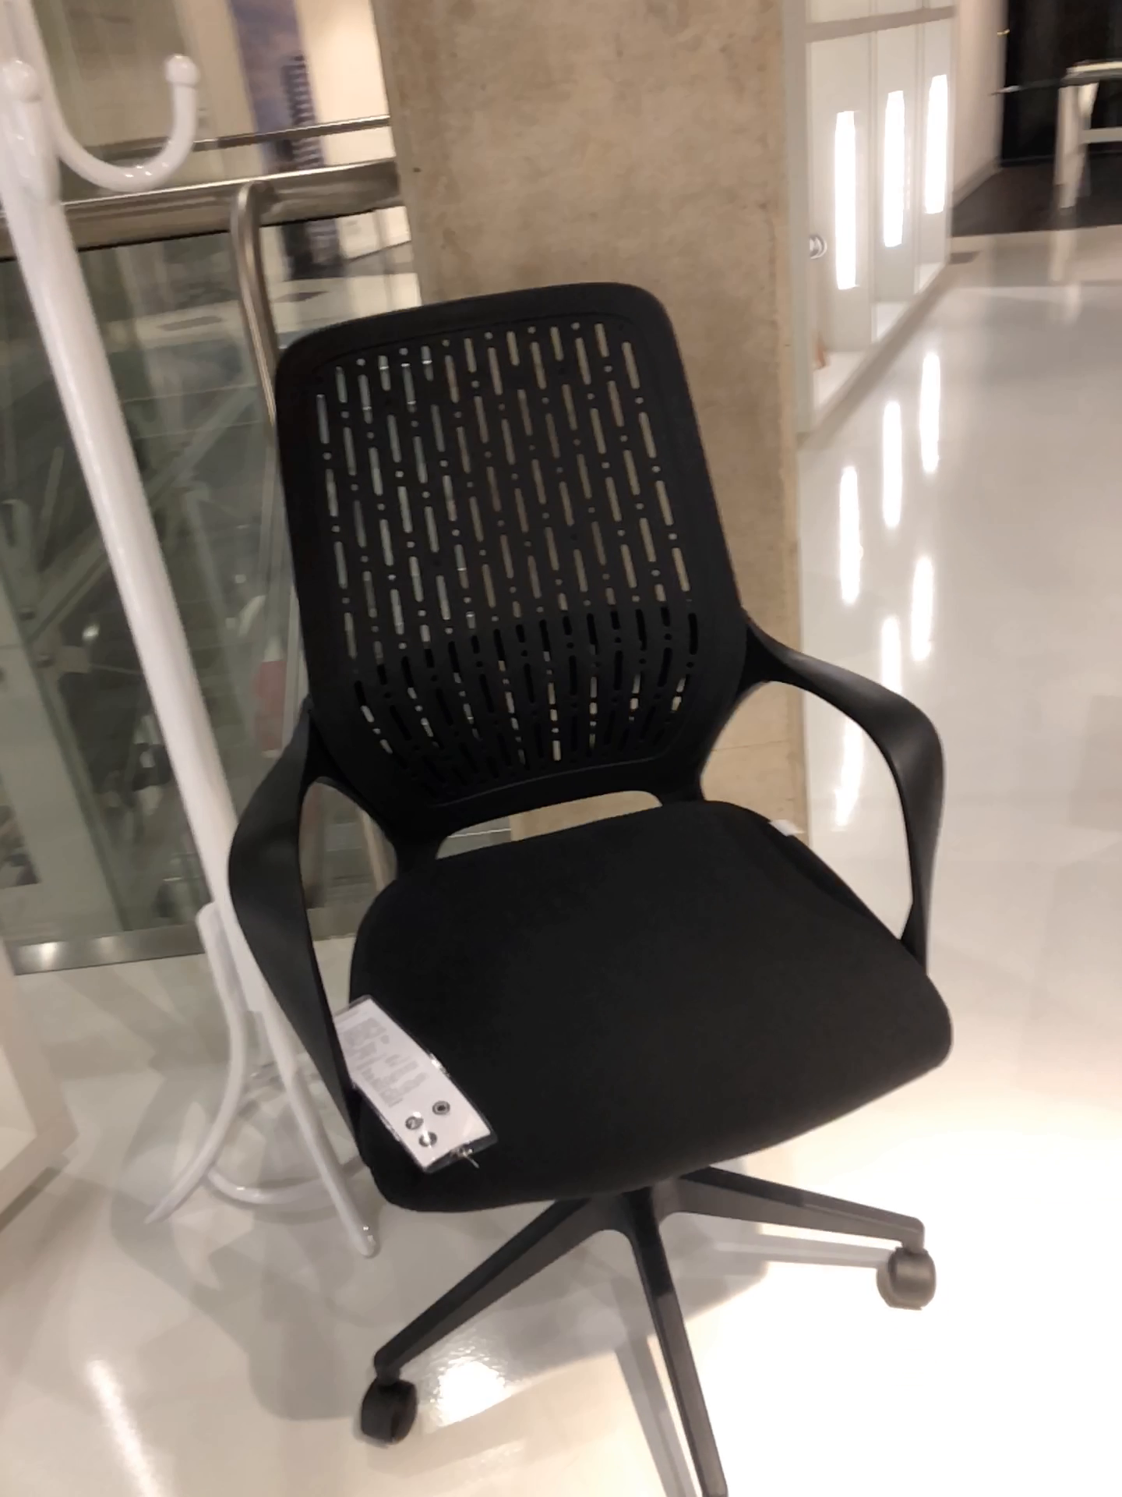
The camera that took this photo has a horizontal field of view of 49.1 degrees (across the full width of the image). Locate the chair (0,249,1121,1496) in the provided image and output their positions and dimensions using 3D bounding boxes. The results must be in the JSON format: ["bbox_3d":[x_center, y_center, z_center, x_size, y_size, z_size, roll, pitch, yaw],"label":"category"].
[{"bbox_3d":[0.018,0.155,1.161,0.640,1.022,0.705,-11,28,-7],"label":"chair"}]
